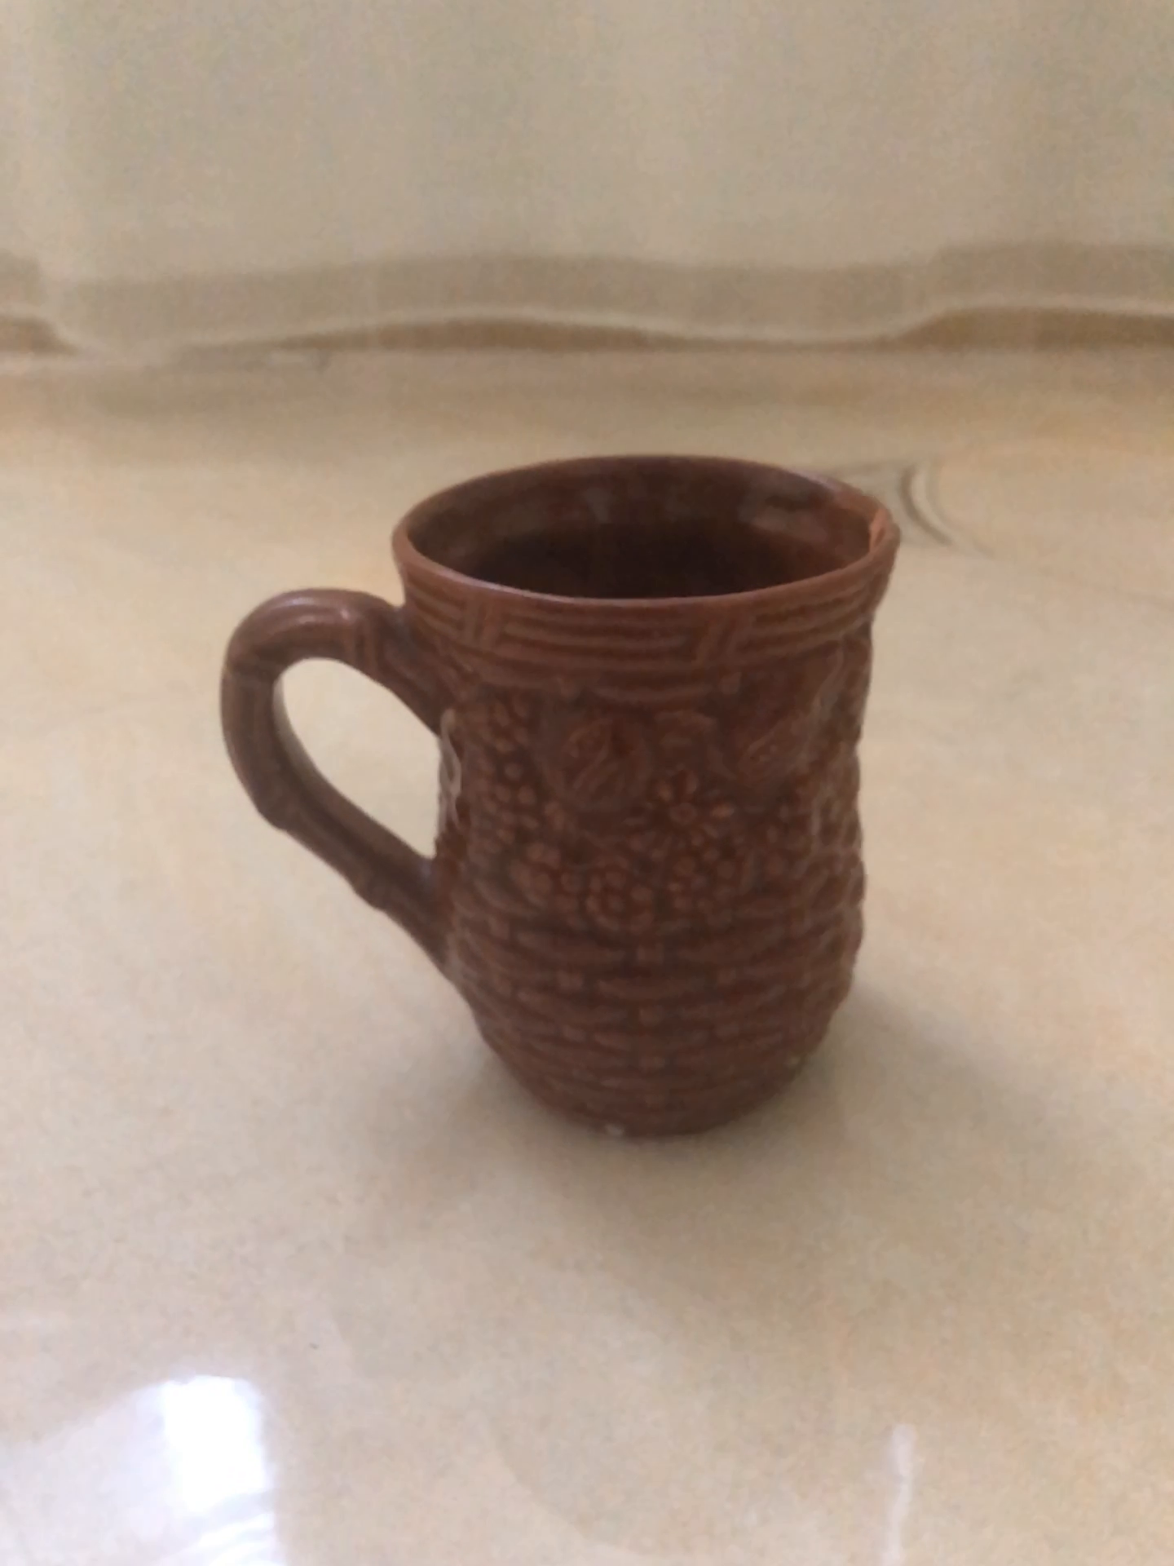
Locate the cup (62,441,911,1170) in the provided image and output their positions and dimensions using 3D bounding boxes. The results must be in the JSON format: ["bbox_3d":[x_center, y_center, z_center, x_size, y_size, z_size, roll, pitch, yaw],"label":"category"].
[{"bbox_3d":[-0.006,-0.003,0.207,0.104,0.081,0.073,4,28,11],"label":"cup"}]
